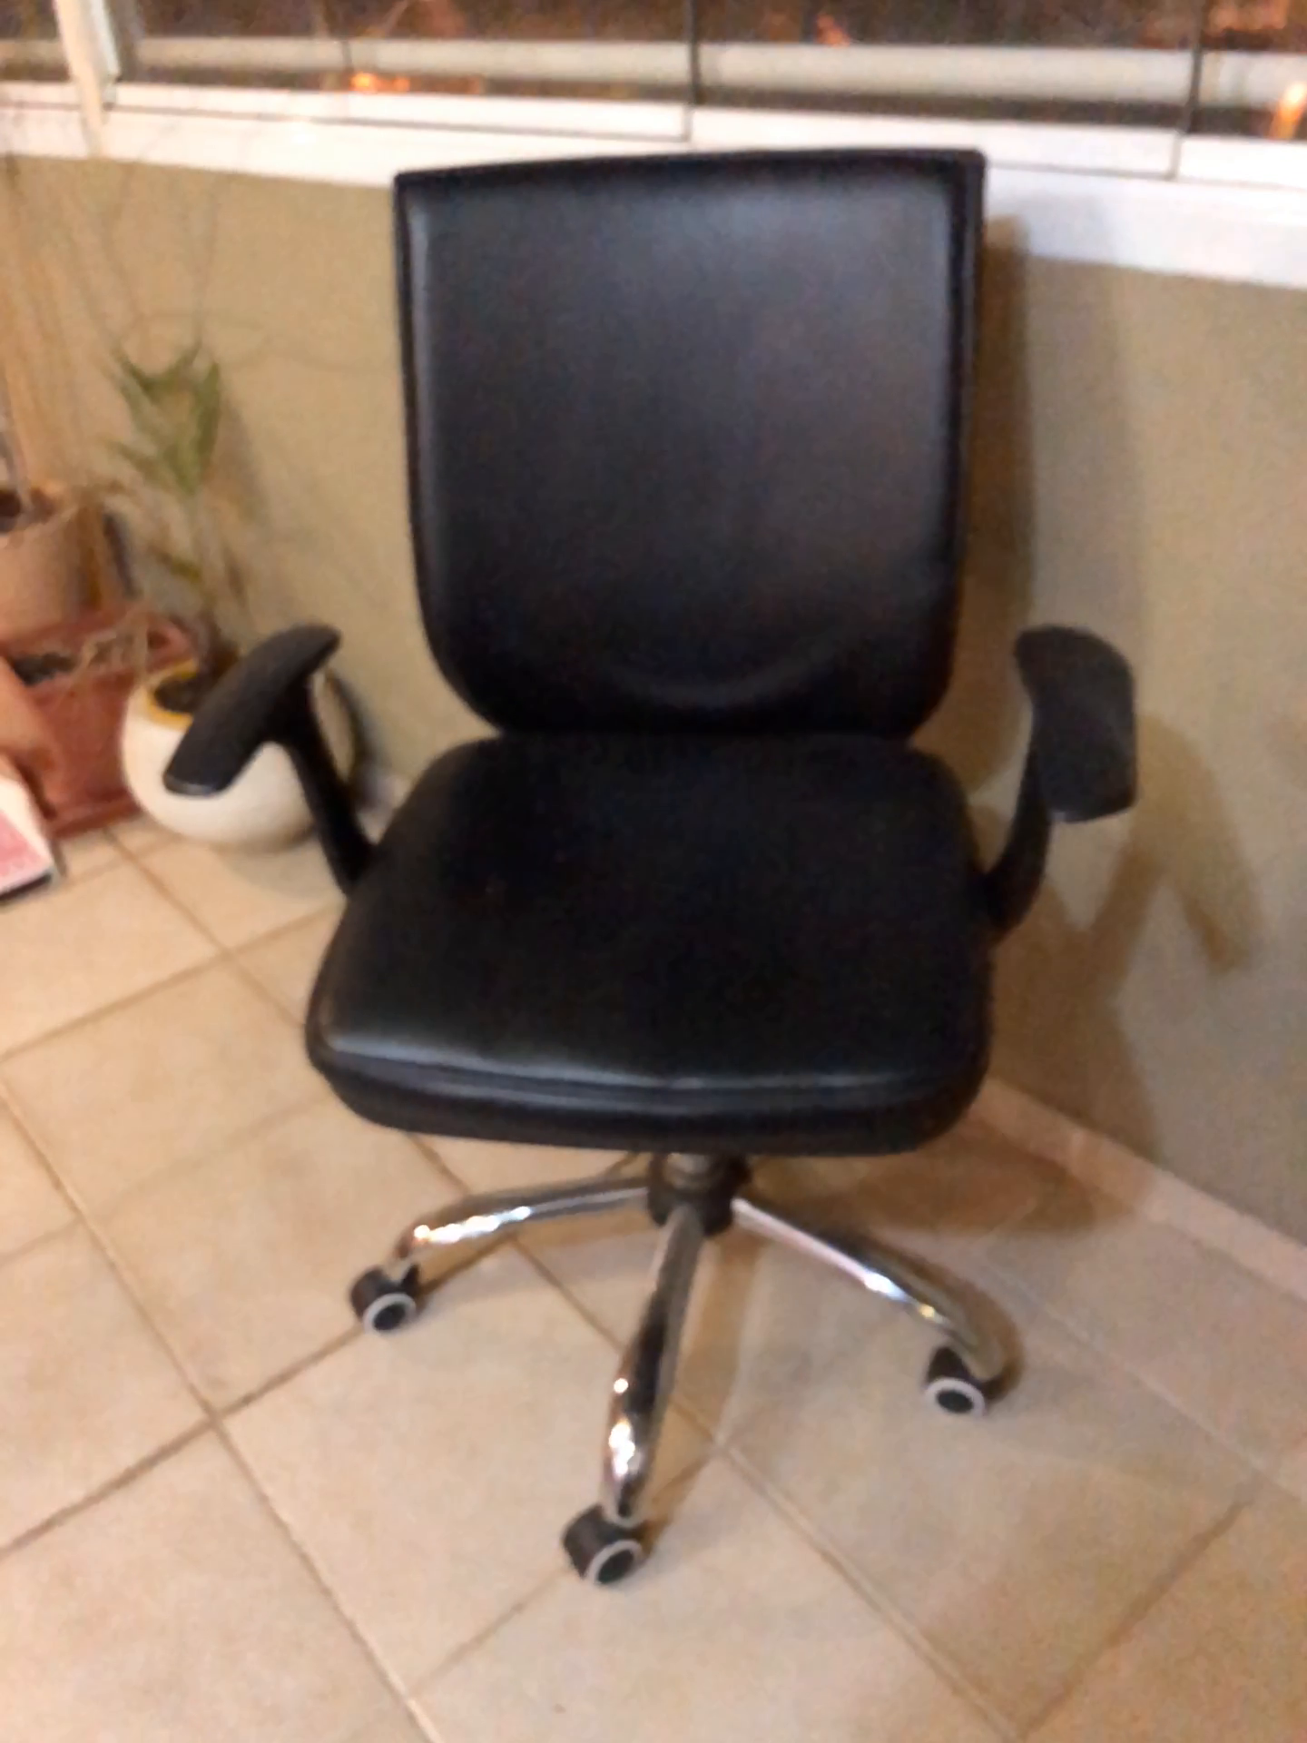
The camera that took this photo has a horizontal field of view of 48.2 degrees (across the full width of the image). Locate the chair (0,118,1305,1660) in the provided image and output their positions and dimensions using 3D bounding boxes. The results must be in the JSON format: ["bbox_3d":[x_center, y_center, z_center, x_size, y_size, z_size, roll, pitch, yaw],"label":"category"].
[{"bbox_3d":[0.009,-0.010,1.142,0.660,0.933,0.665,2,34,10],"label":"chair"}]
